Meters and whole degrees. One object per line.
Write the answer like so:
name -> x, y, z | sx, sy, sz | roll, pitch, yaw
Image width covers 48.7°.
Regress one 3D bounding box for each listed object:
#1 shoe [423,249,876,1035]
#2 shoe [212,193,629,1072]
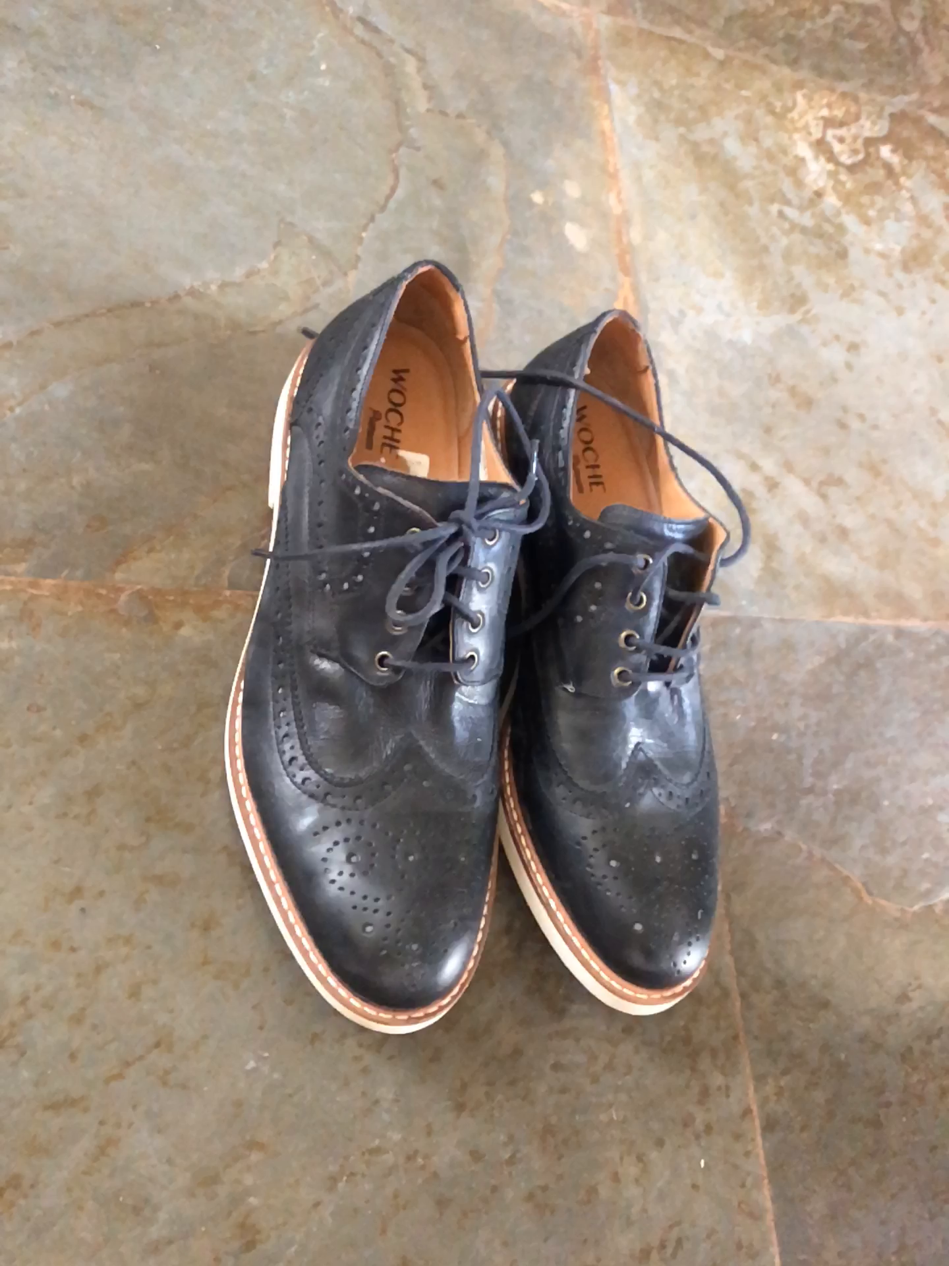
shoe -> 0.060, 0.003, 0.446 | 0.110, 0.099, 0.301 | 1, 71, -23
shoe -> -0.029, 0.000, 0.391 | 0.110, 0.099, 0.291 | 5, 69, -22
